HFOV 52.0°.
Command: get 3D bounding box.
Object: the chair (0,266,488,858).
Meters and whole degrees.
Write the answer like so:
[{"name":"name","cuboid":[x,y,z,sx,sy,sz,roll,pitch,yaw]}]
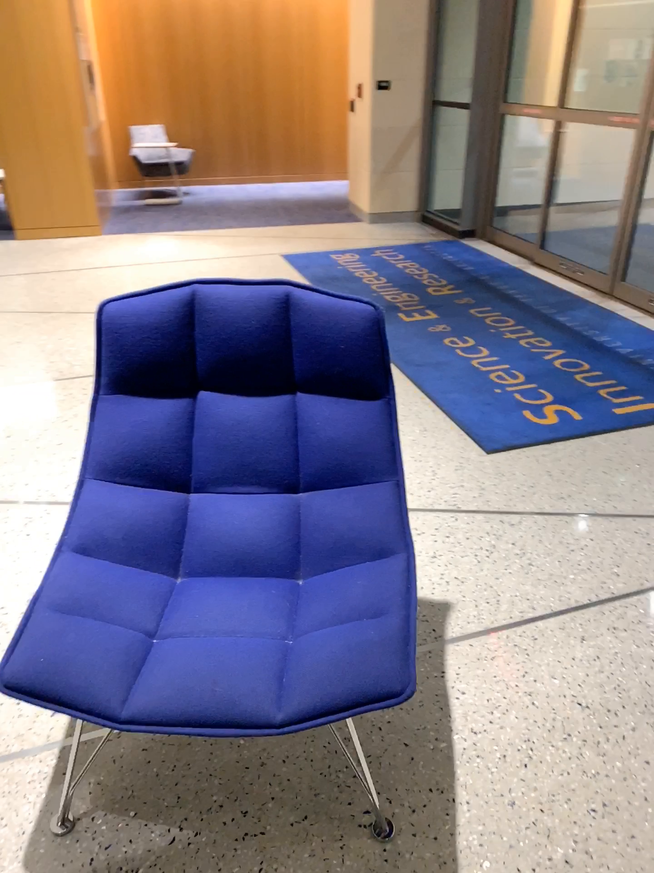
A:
[{"name":"chair","cuboid":[-0.208,0.194,1.411,0.854,0.894,0.800,1,28,2]}]
